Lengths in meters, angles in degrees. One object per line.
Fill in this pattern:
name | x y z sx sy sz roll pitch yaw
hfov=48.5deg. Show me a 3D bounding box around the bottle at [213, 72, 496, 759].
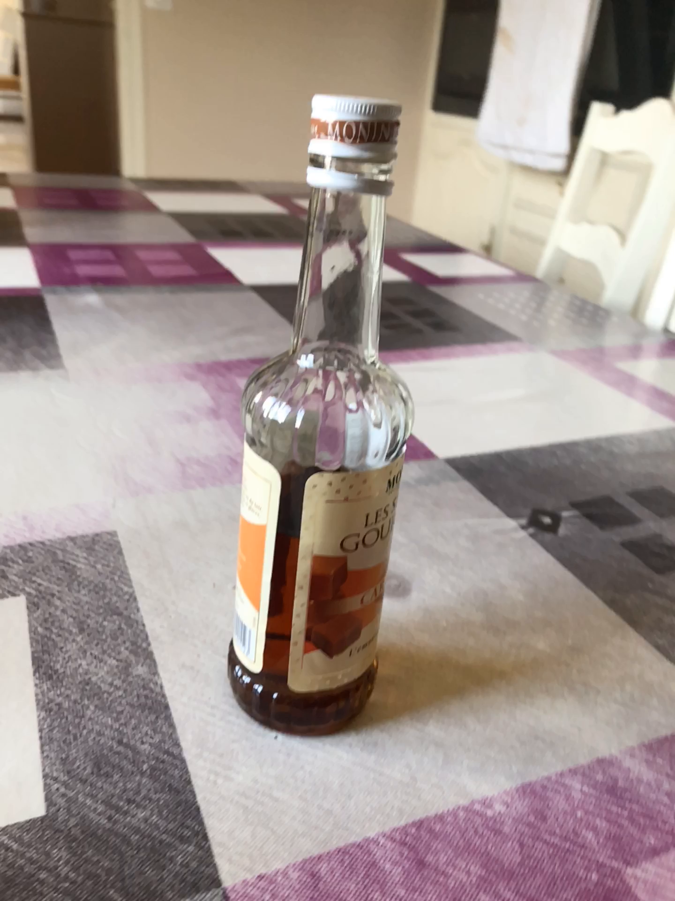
bottle | -0.004 -0.003 0.276 0.070 0.239 0.070 4 26 -2
